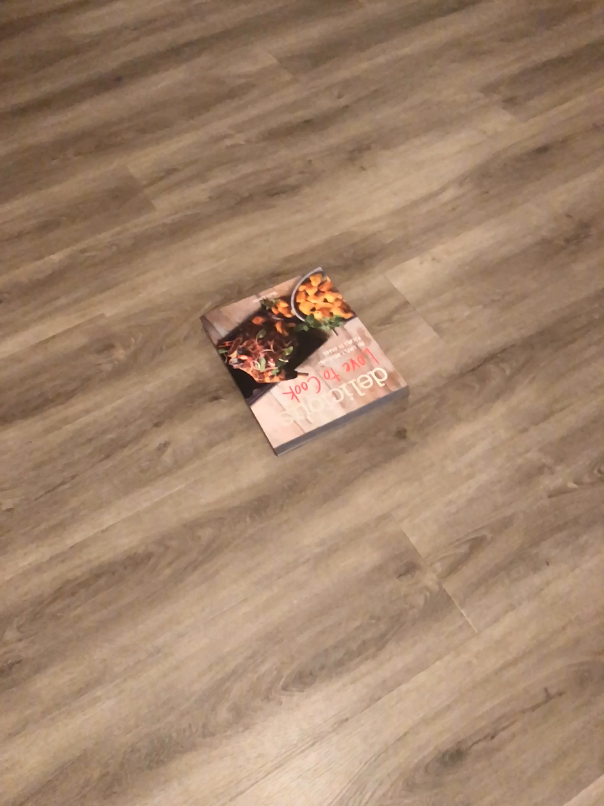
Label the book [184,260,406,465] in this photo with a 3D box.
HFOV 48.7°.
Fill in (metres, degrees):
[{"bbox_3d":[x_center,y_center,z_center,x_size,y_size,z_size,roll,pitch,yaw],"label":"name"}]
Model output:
[{"bbox_3d":[-0.018,-0.075,1.003,0.222,0.030,0.290,-25,58,-13],"label":"book"}]
